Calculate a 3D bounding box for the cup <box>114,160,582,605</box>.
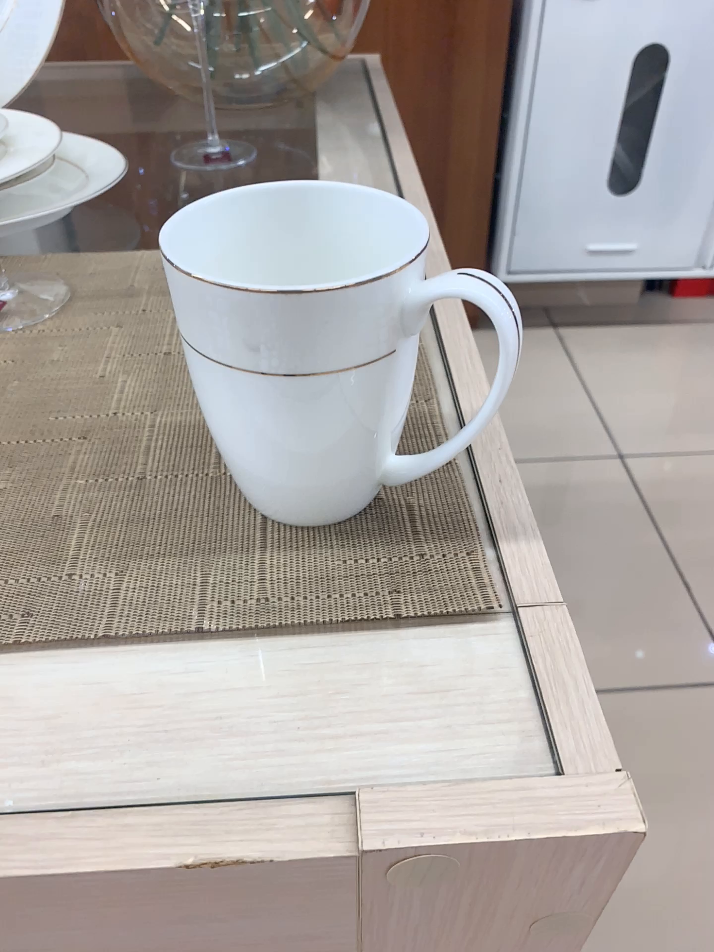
[{"bbox_3d":[-0.001,-0.040,0.268,0.120,0.100,0.090,21,45,23],"label":"cup"}]
